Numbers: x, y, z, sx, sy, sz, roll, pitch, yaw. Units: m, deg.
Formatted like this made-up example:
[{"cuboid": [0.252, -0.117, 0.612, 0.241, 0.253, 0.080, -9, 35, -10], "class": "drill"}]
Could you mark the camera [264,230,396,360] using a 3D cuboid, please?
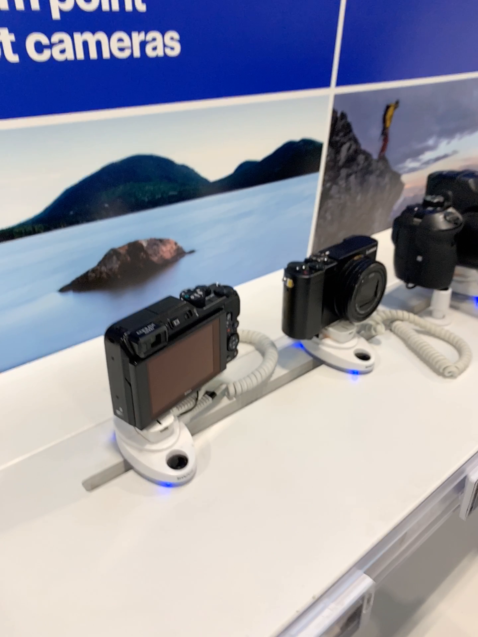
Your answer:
[{"cuboid": [0.079, -0.024, 0.435, 0.110, 0.070, 0.050, -24, 36, -34], "class": "camera"}]

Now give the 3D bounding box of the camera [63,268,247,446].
[{"cuboid": [-0.053, 0.021, 0.359, 0.050, 0.070, 0.120, 22, 37, 36], "class": "camera"}]

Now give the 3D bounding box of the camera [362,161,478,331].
[{"cuboid": [0.242, -0.086, 0.510, 0.160, 0.099, 0.151, -24, 36, -34], "class": "camera"}]

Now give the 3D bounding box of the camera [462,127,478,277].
[{"cuboid": [0.432, -0.159, 0.616, 0.160, 0.109, 0.221, -25, 37, -34], "class": "camera"}]
